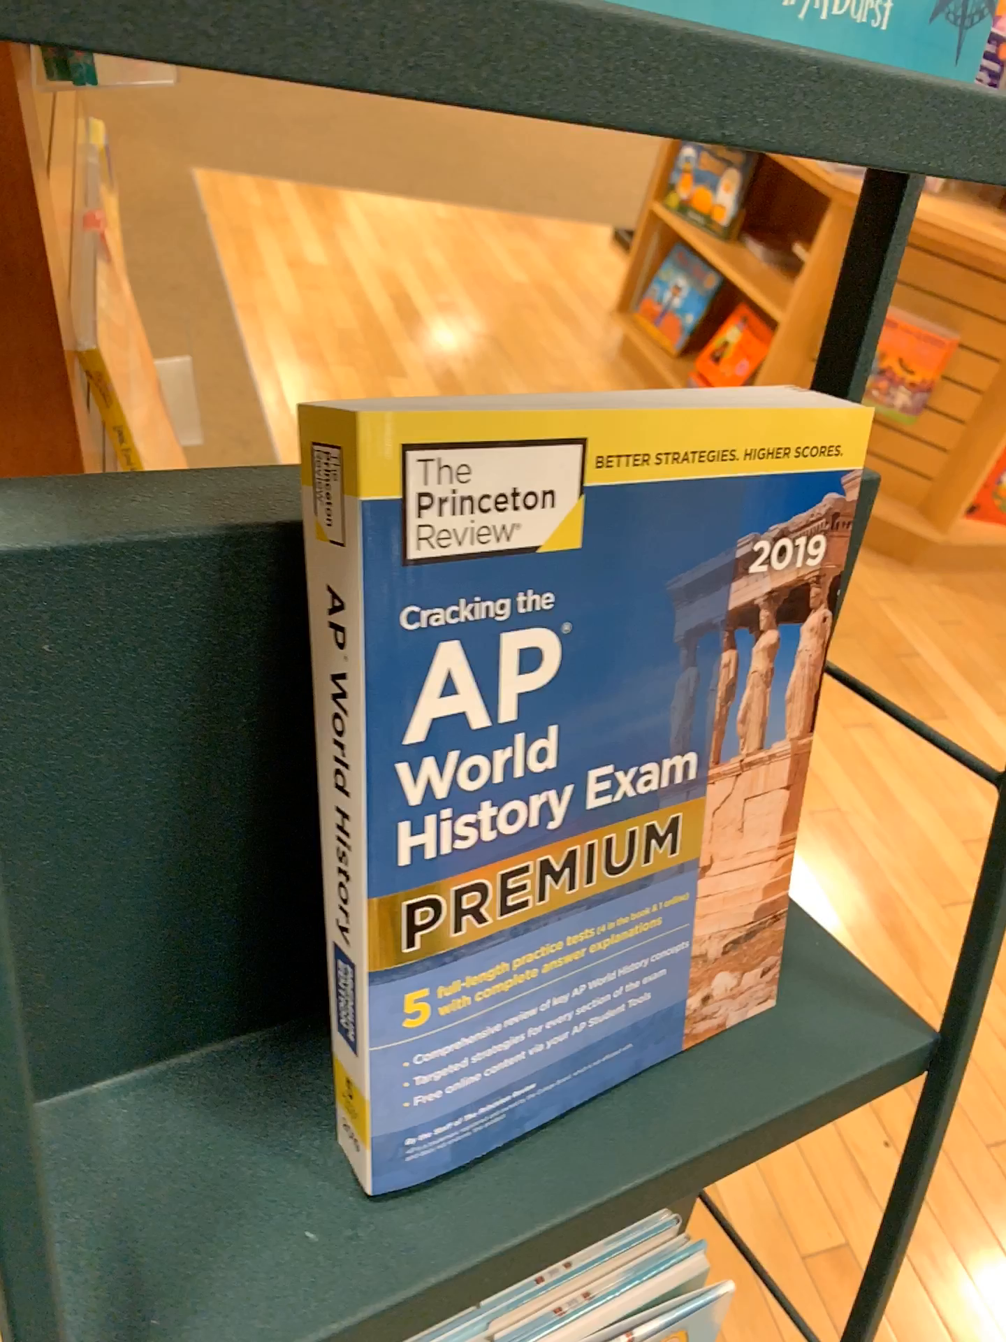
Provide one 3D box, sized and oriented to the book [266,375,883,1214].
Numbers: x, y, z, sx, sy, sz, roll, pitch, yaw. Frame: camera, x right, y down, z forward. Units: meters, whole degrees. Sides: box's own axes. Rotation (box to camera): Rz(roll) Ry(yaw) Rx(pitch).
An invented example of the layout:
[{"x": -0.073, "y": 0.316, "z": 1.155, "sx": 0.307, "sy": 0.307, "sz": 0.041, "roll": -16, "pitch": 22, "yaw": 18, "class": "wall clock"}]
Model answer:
[{"x": 0.033, "y": 0.033, "z": 0.392, "sx": 0.215, "sy": 0.269, "sz": 0.057, "roll": -12, "pitch": 22, "yaw": -31, "class": "book"}]
